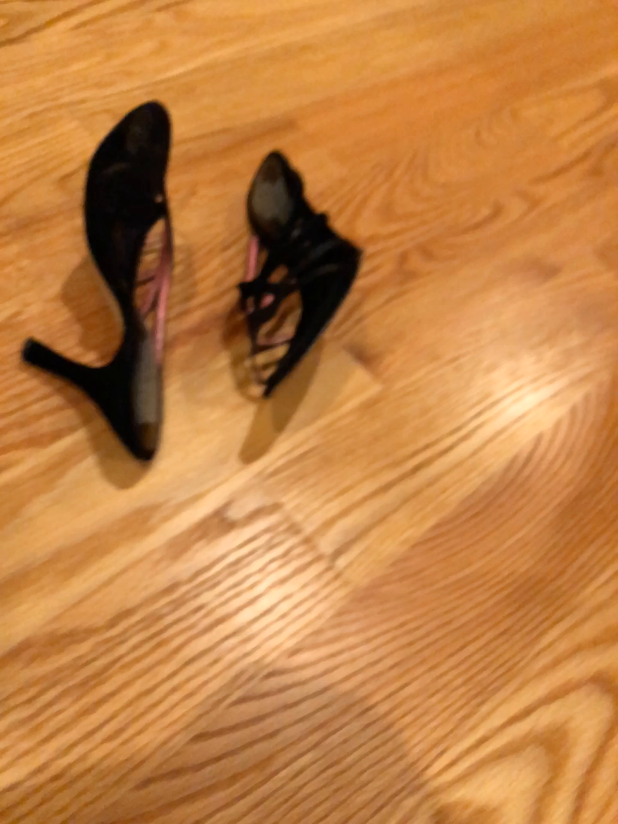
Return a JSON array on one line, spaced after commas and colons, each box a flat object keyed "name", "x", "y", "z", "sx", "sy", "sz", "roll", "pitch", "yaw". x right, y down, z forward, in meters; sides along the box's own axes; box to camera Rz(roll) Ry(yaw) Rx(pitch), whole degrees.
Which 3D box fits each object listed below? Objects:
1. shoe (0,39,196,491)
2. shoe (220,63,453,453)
[{"name": "shoe", "x": -0.113, "y": -0.087, "z": 0.392, "sx": 0.082, "sy": 0.104, "sz": 0.236, "roll": 4, "pitch": 56, "yaw": -13}, {"name": "shoe", "x": 0.002, "y": -0.096, "z": 0.427, "sx": 0.102, "sy": 0.104, "sz": 0.216, "roll": 2, "pitch": 57, "yaw": -12}]
